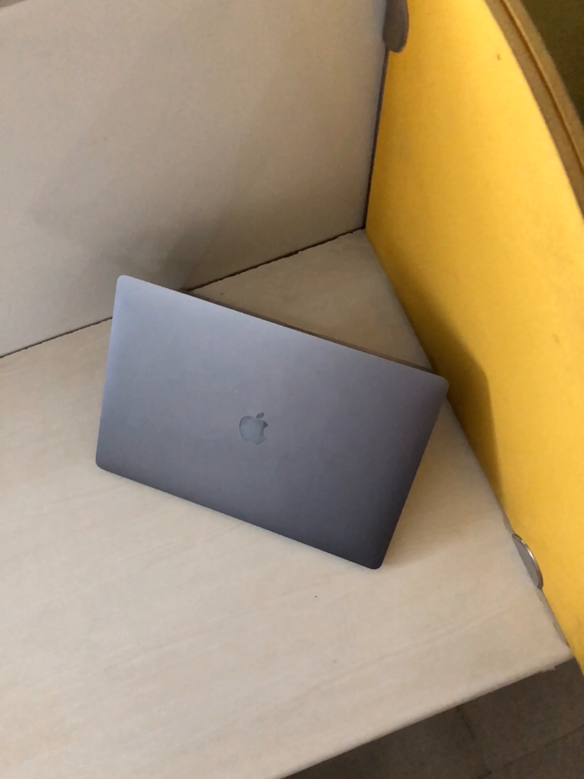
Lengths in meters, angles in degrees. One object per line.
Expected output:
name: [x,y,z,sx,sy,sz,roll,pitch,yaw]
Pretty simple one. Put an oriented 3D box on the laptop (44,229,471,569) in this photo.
laptop: [-0.027,0.016,0.681,0.345,0.152,0.236,18,75,7]
